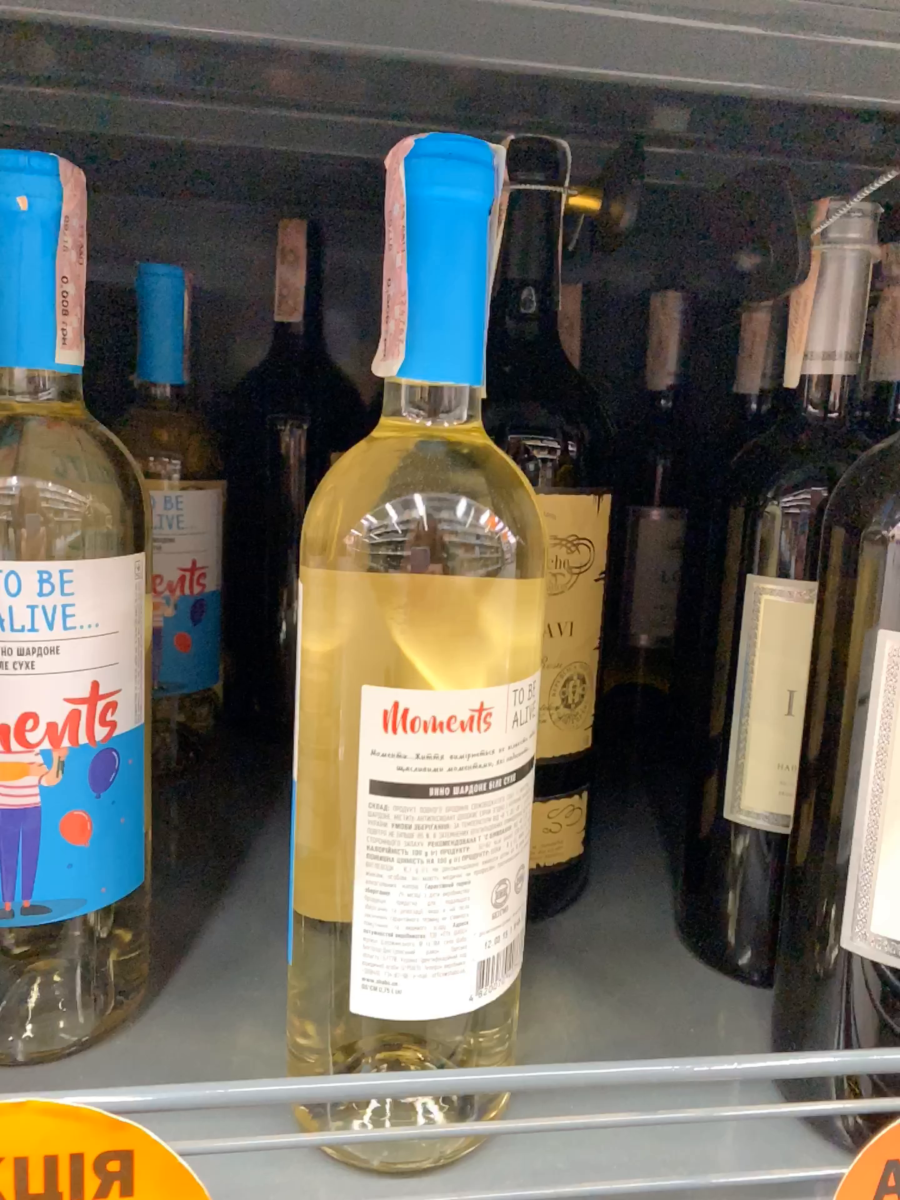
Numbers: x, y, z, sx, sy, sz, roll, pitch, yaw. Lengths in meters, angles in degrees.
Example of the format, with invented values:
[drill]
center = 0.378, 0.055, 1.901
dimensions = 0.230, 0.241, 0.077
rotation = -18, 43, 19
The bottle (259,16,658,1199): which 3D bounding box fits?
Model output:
[bottle]
center = -0.008, 0.013, 0.291
dimensions = 0.080, 0.313, 0.081
rotation = 3, 11, -1
